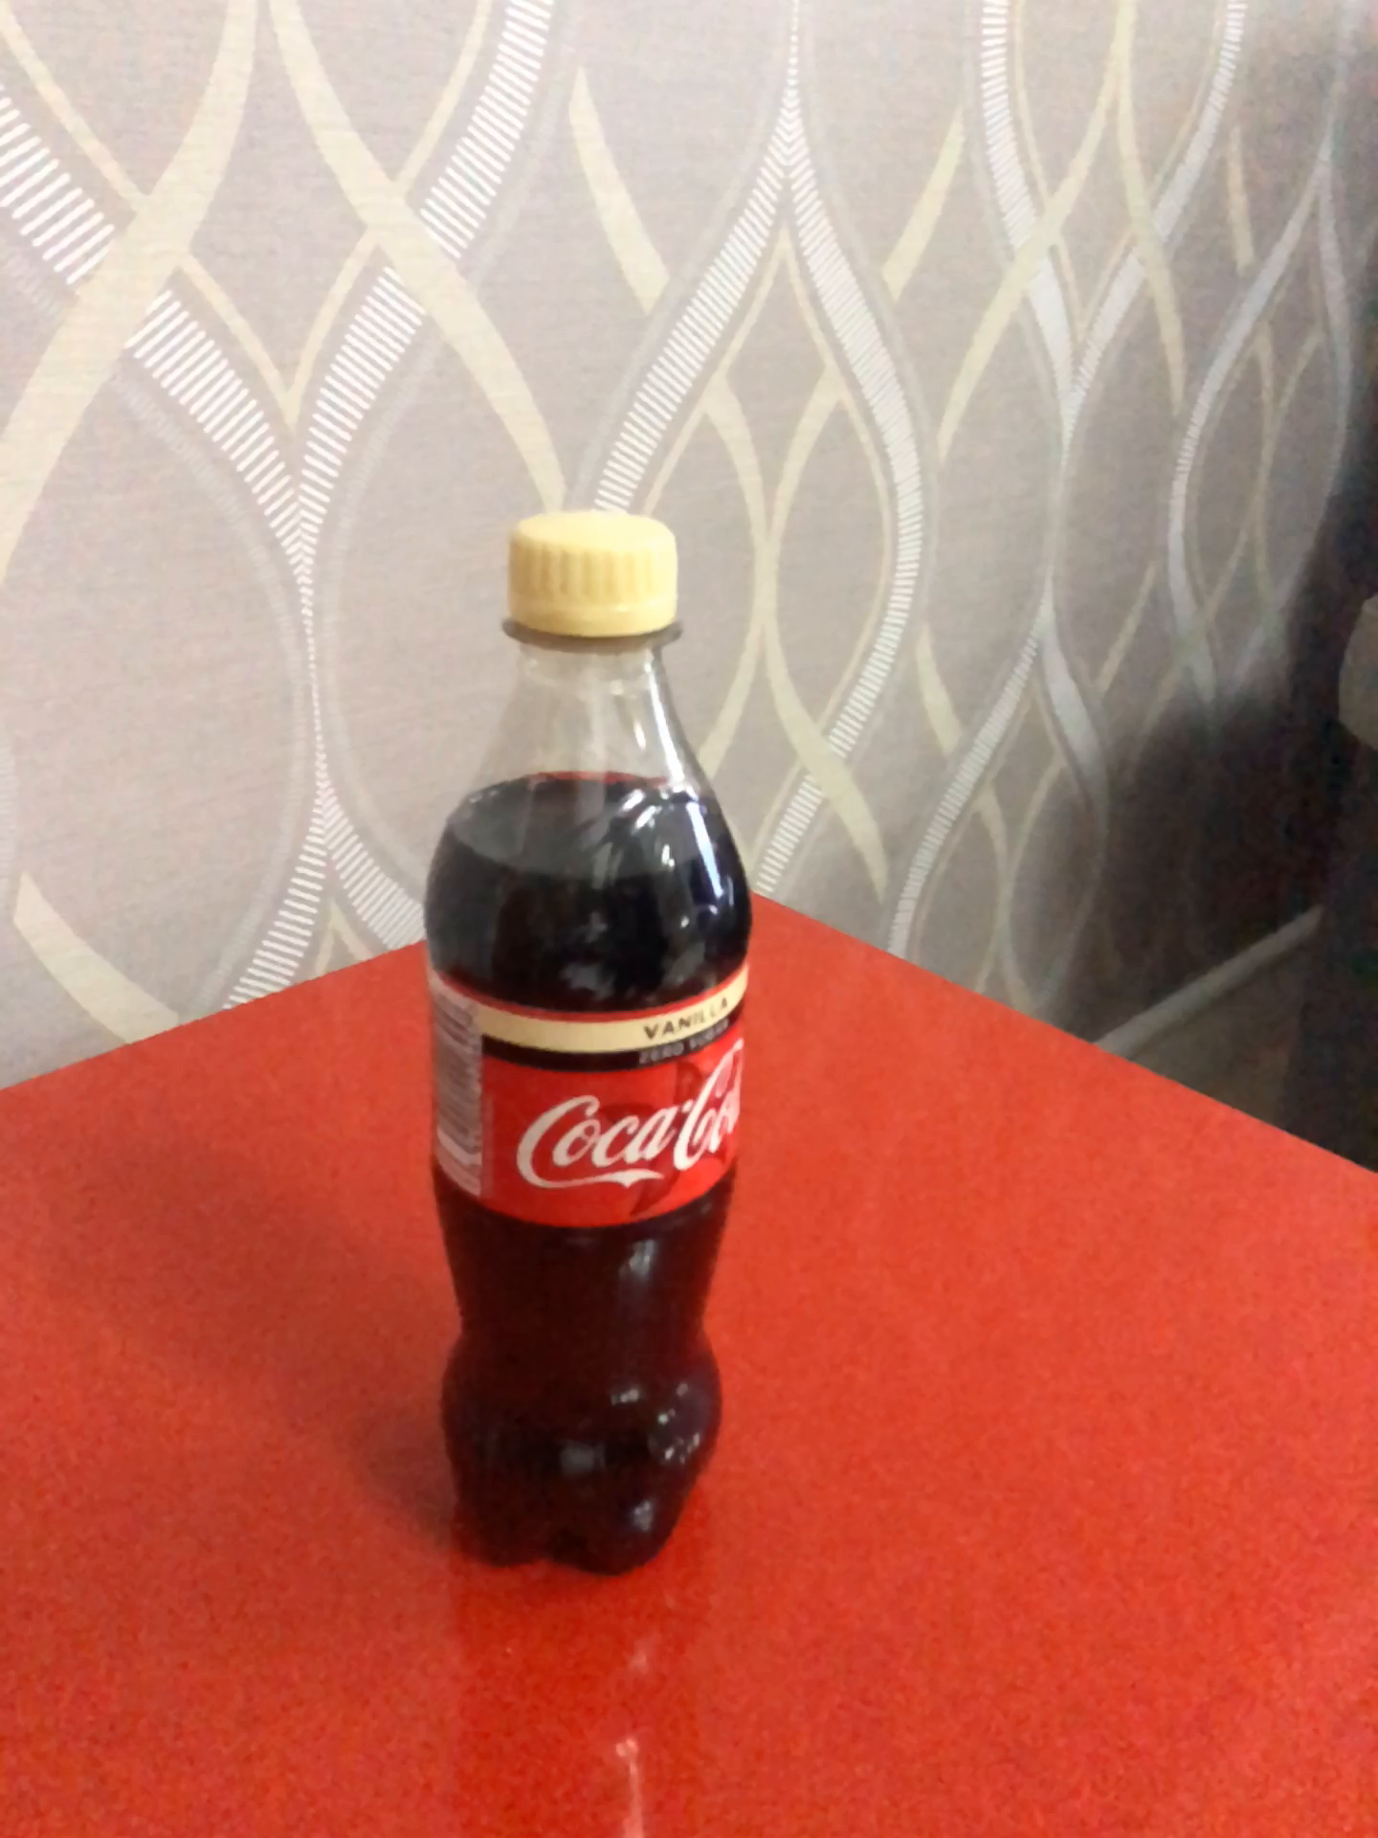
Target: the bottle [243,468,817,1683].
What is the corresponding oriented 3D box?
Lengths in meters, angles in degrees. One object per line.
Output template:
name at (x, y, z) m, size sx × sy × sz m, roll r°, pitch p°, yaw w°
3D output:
bottle at (-0.034, 0.035, 0.327) m, size 0.070 × 0.238 × 0.080 m, roll -20°, pitch 33°, yaw -38°
